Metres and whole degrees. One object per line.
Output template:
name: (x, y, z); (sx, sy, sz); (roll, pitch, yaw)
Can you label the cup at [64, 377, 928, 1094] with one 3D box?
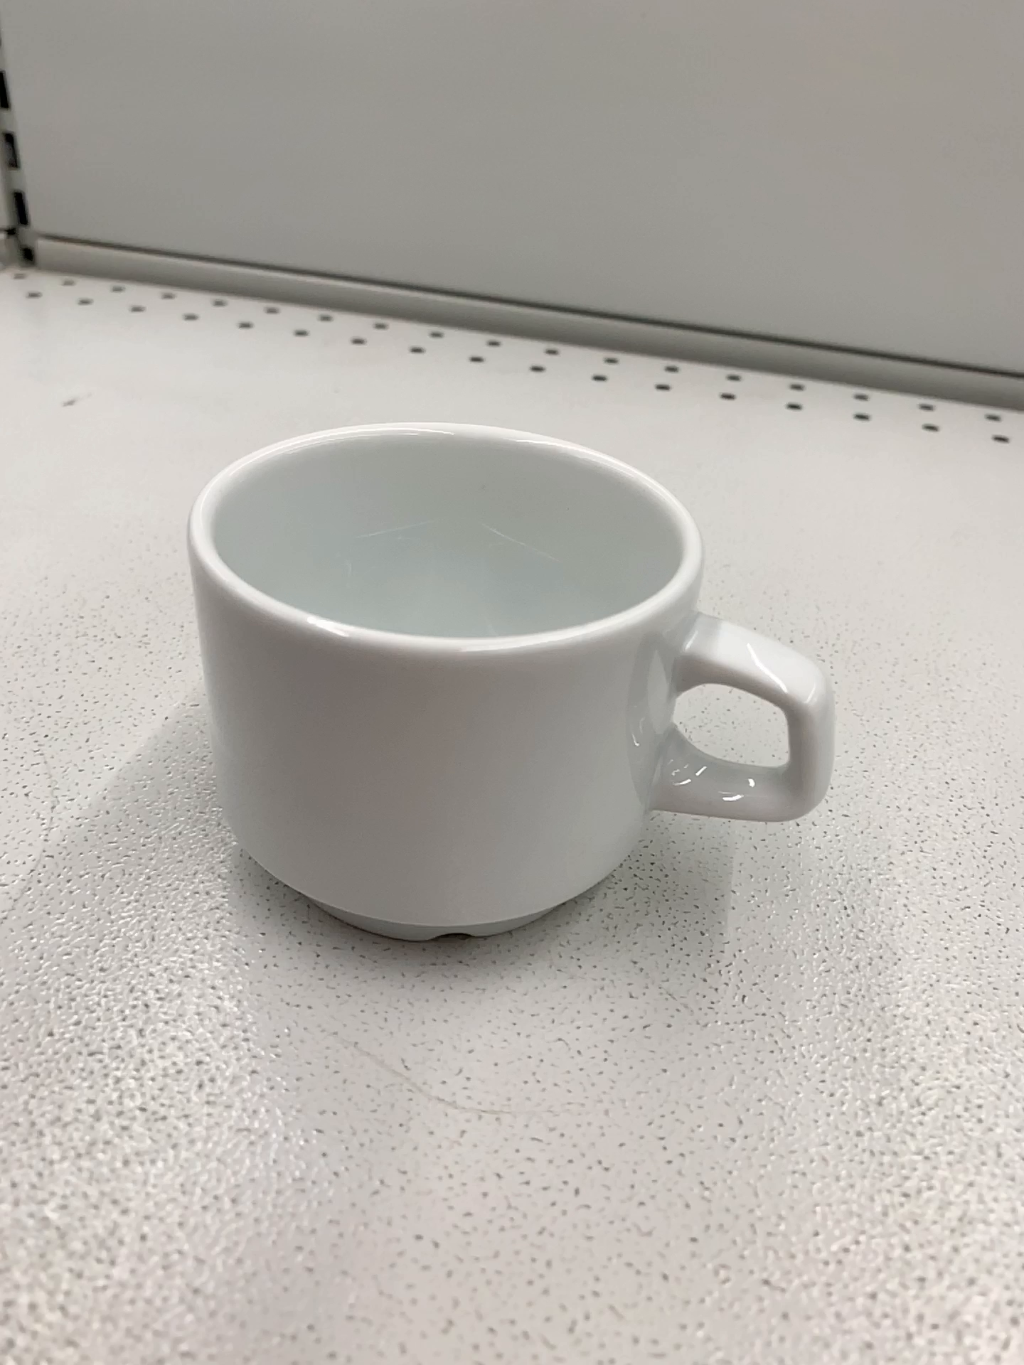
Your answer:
cup: (0.004, -0.001, 0.172); (0.105, 0.056, 0.082); (13, 34, 13)
